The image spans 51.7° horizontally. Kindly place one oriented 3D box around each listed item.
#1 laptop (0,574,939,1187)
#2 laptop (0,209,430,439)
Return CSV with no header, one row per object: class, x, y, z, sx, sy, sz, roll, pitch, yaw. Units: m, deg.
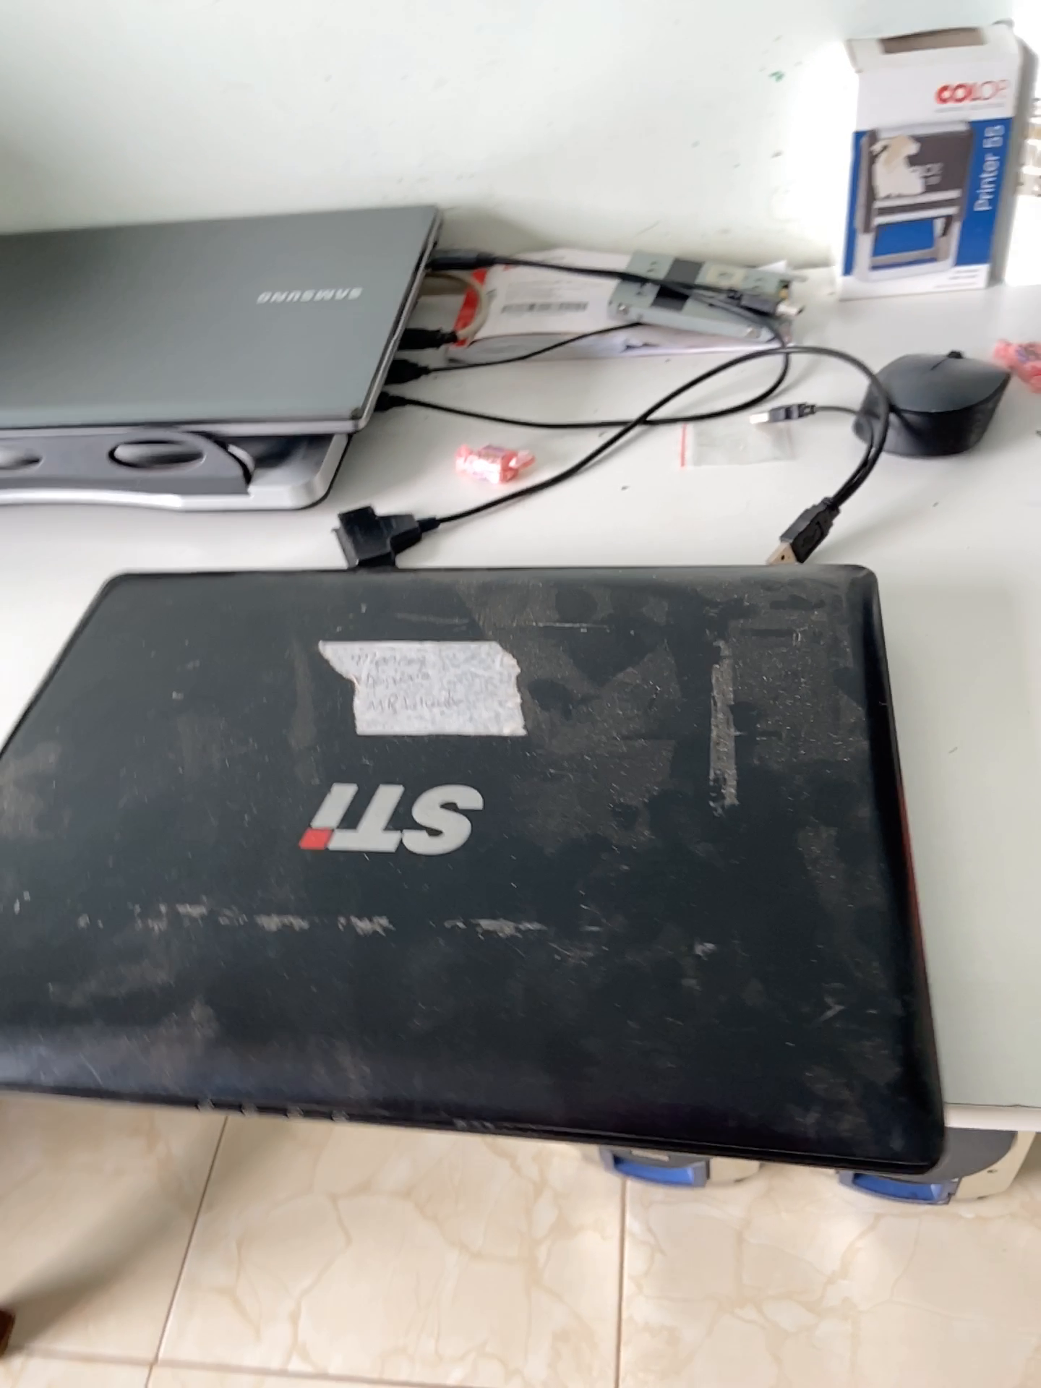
laptop,-0.040,0.040,0.390,0.337,0.011,0.231,1,48,11
laptop,-0.237,-0.221,0.623,0.343,0.006,0.228,-1,46,6
